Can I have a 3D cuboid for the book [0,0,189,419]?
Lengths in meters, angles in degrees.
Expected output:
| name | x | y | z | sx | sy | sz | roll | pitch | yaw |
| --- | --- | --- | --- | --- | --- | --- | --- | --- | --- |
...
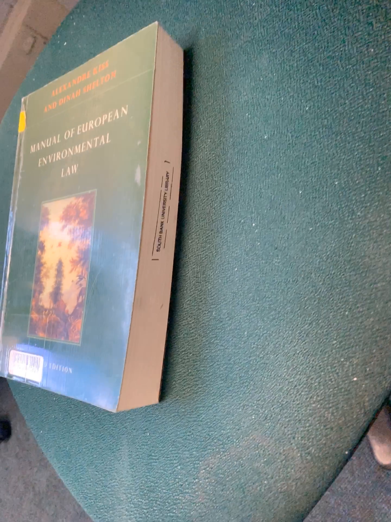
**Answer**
| name | x | y | z | sx | sy | sz | roll | pitch | yaw |
| --- | --- | --- | --- | --- | --- | --- | --- | --- | --- |
| book | -0.091 | -0.032 | 0.303 | 0.181 | 0.040 | 0.250 | -5 | 80 | 38 |
